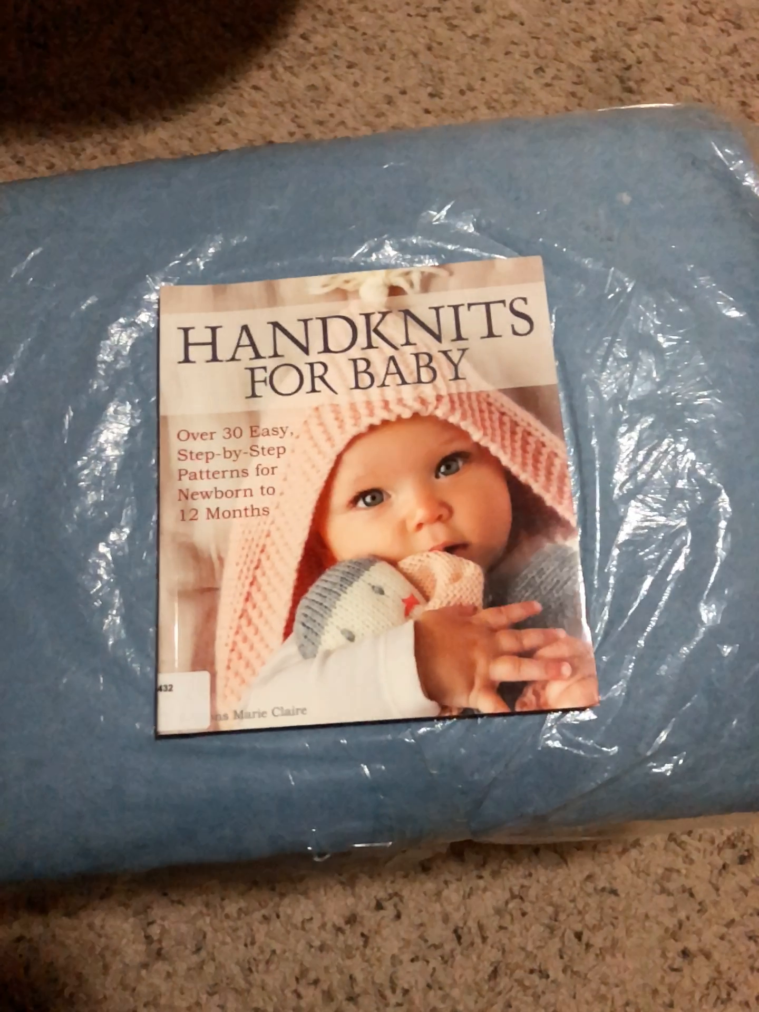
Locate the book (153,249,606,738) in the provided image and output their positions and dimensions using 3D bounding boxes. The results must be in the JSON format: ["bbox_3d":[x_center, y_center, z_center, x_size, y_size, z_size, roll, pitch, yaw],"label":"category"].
[{"bbox_3d":[-0.008,-0.010,0.399,0.196,0.020,0.220,-4,76,2],"label":"book"}]
